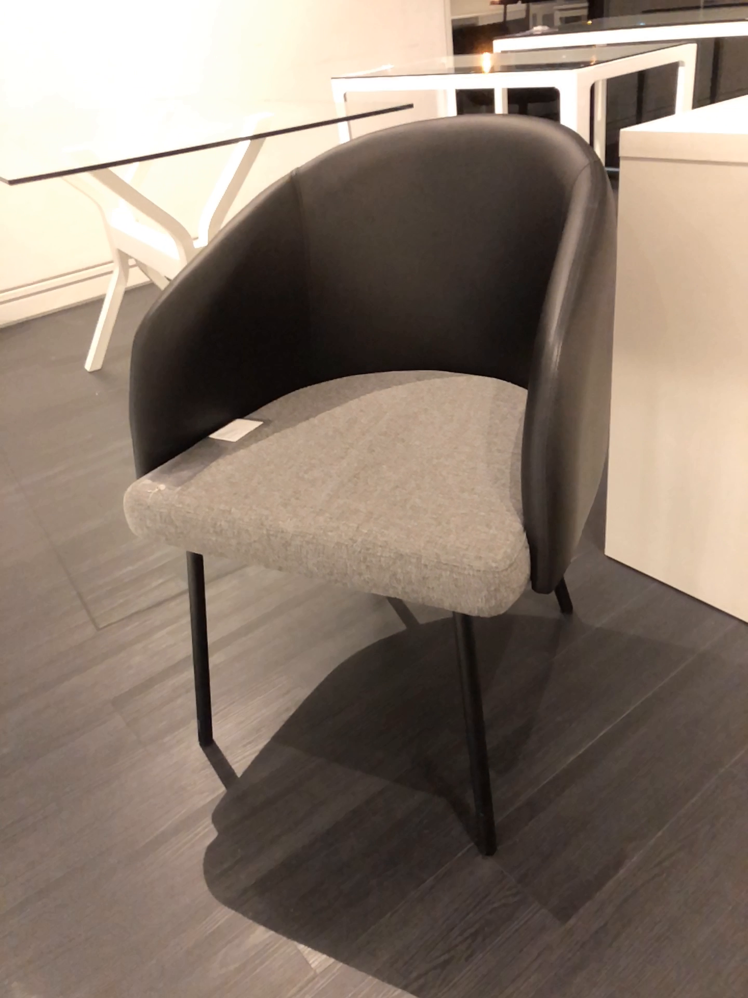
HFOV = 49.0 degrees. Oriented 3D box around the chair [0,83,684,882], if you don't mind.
[{"bbox_3d":[0.014,-0.081,1.121,0.611,0.764,0.593,11,35,29],"label":"chair"}]
